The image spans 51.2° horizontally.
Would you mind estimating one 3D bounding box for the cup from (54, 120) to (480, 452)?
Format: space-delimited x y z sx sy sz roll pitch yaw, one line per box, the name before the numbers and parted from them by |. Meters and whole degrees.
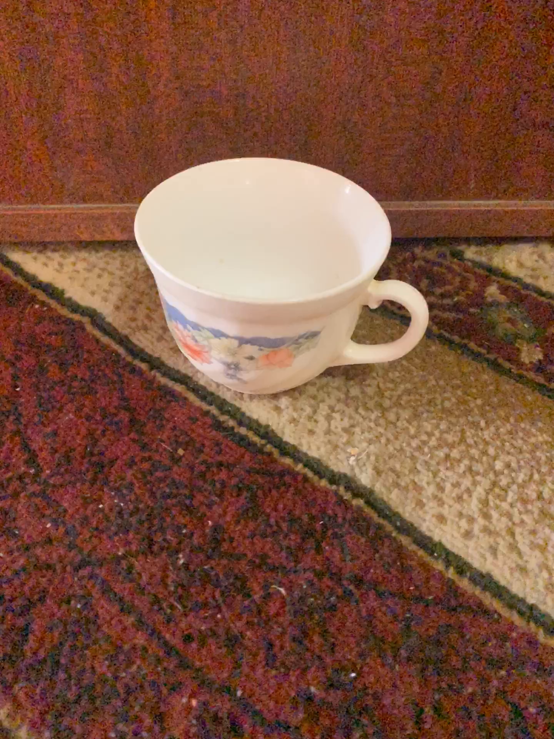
cup | 0.003 -0.034 0.193 0.109 0.053 0.083 12 45 11
